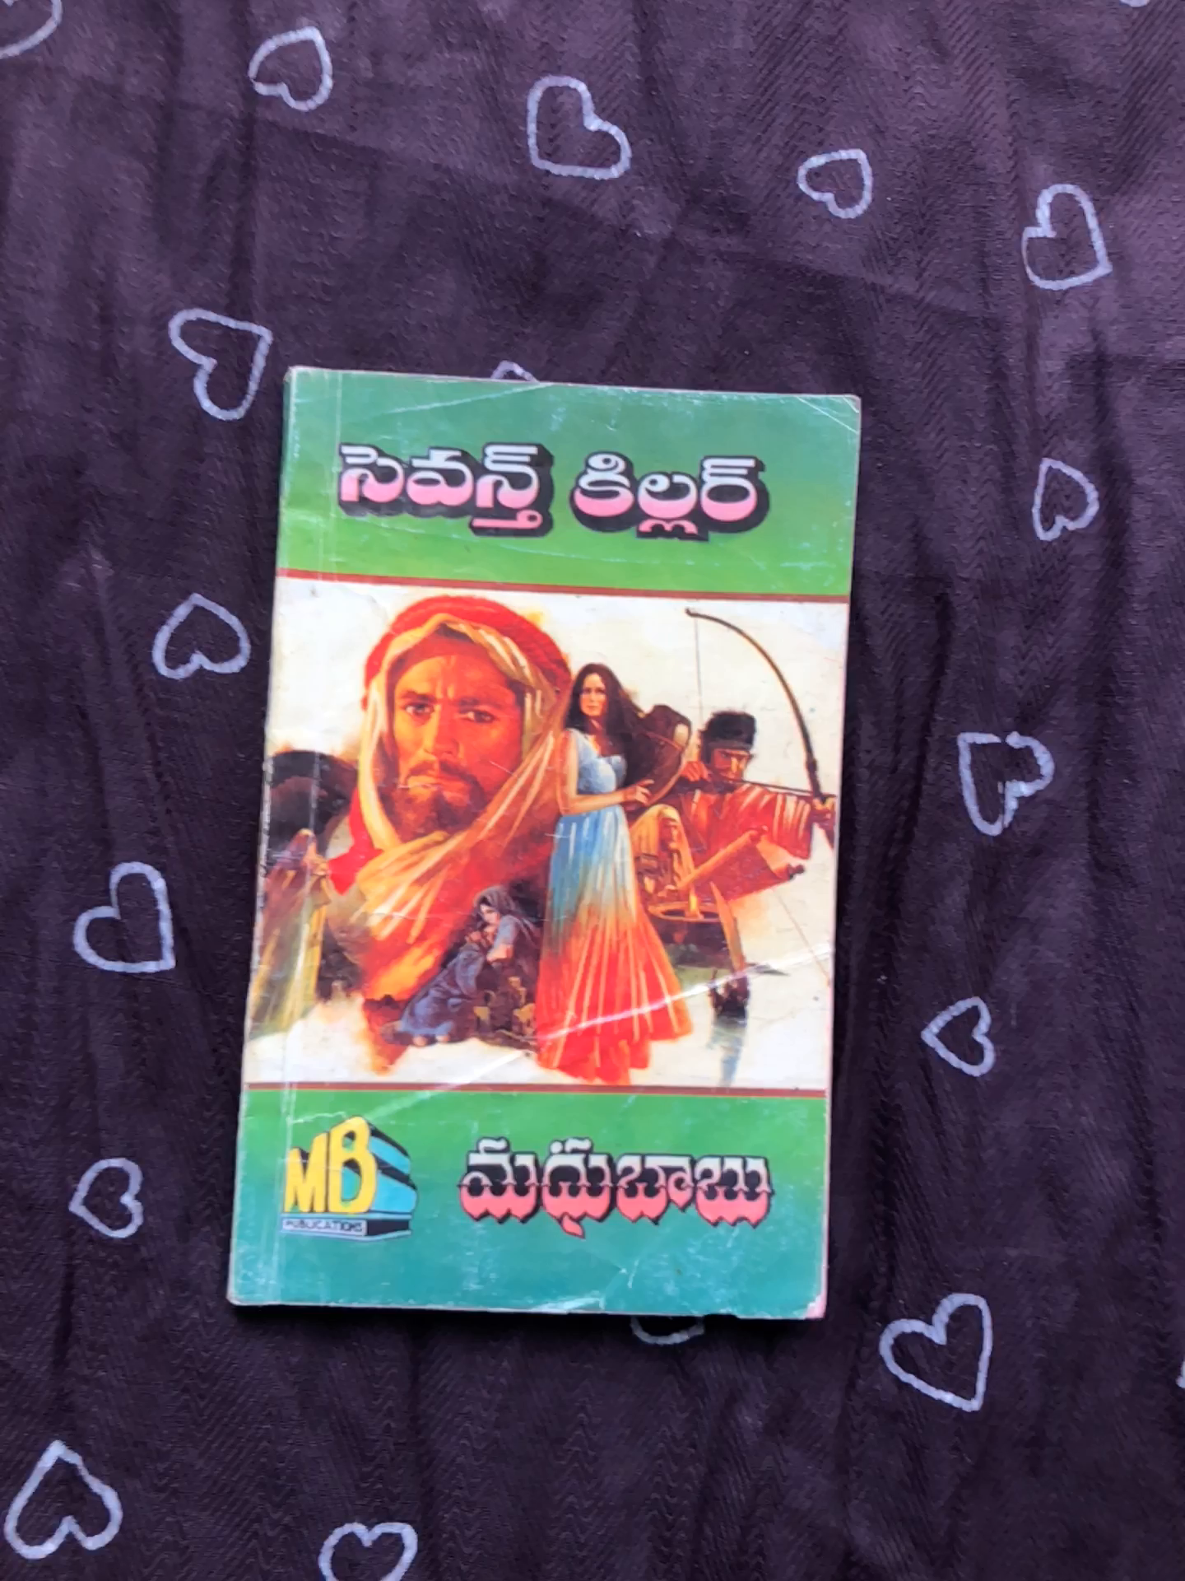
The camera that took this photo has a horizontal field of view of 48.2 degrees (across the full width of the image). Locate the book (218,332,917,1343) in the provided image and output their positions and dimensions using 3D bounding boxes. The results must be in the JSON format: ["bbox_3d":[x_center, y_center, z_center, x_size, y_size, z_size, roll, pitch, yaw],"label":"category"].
[{"bbox_3d":[-0.002,0.007,0.208,0.100,0.010,0.150,3,87,-4],"label":"book"}]
